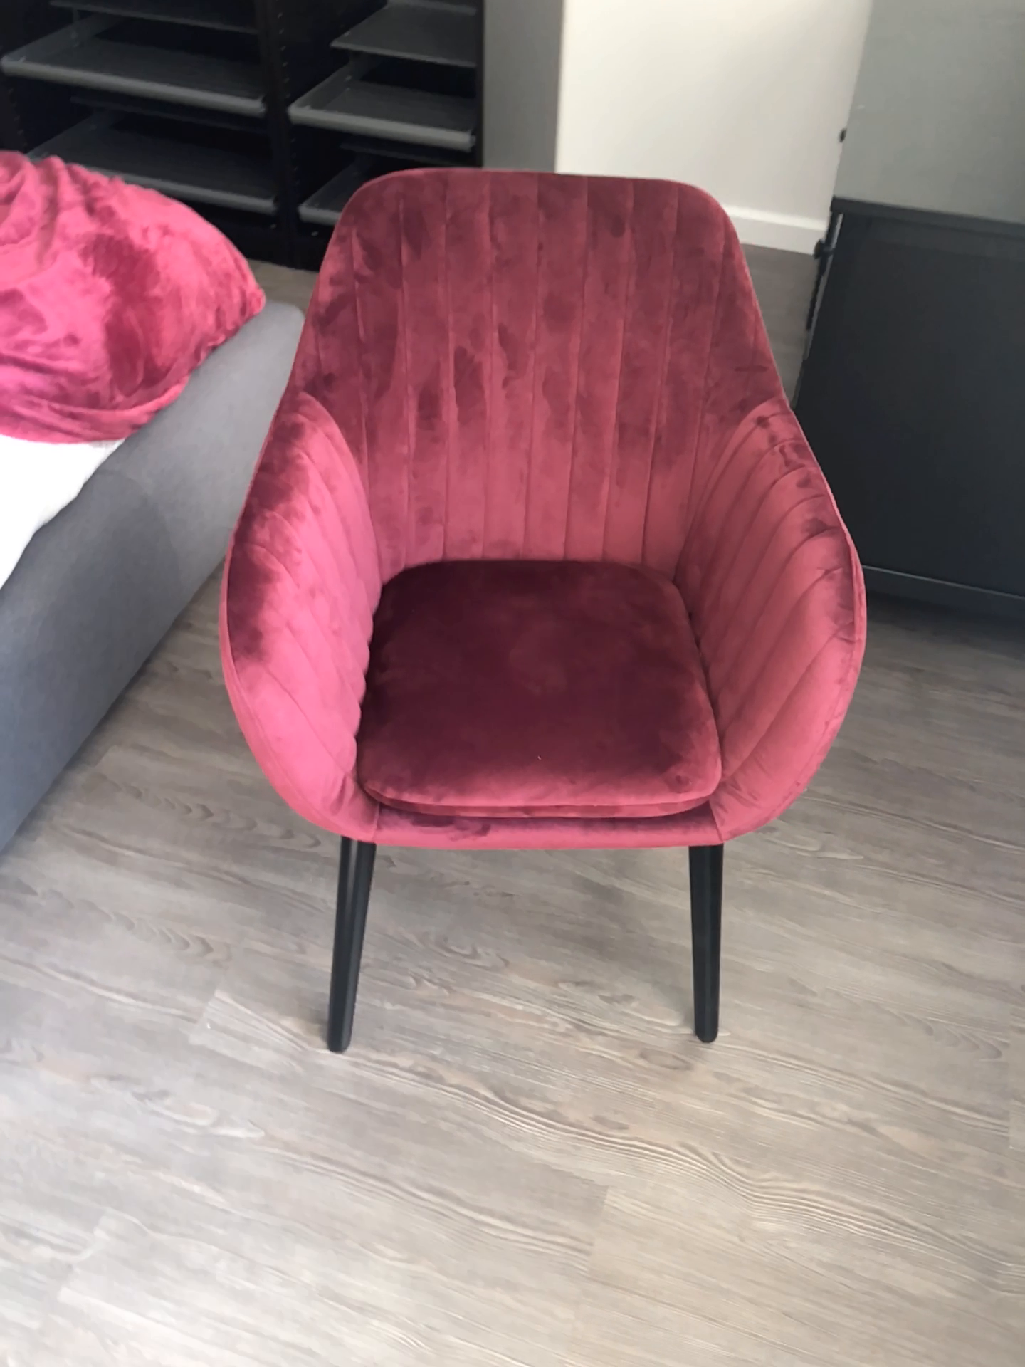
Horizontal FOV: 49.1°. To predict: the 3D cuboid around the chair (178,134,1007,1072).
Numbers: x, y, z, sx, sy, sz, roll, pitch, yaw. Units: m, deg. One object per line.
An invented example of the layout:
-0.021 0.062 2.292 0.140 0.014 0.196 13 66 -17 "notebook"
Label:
0.040 -0.044 1.218 0.540 0.835 0.553 2 45 -1 "chair"
